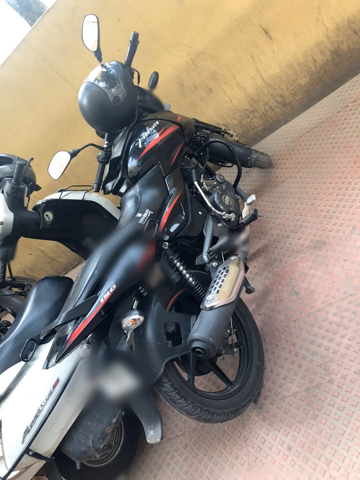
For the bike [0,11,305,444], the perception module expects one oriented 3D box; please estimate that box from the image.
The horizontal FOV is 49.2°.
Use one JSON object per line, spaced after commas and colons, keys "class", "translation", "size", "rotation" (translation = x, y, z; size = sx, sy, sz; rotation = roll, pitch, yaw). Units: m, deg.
{"class": "bike", "translation": [-0.228, -0.098, 1.867], "size": [0.827, 1.057, 1.610], "rotation": [-30, 38, 29]}
